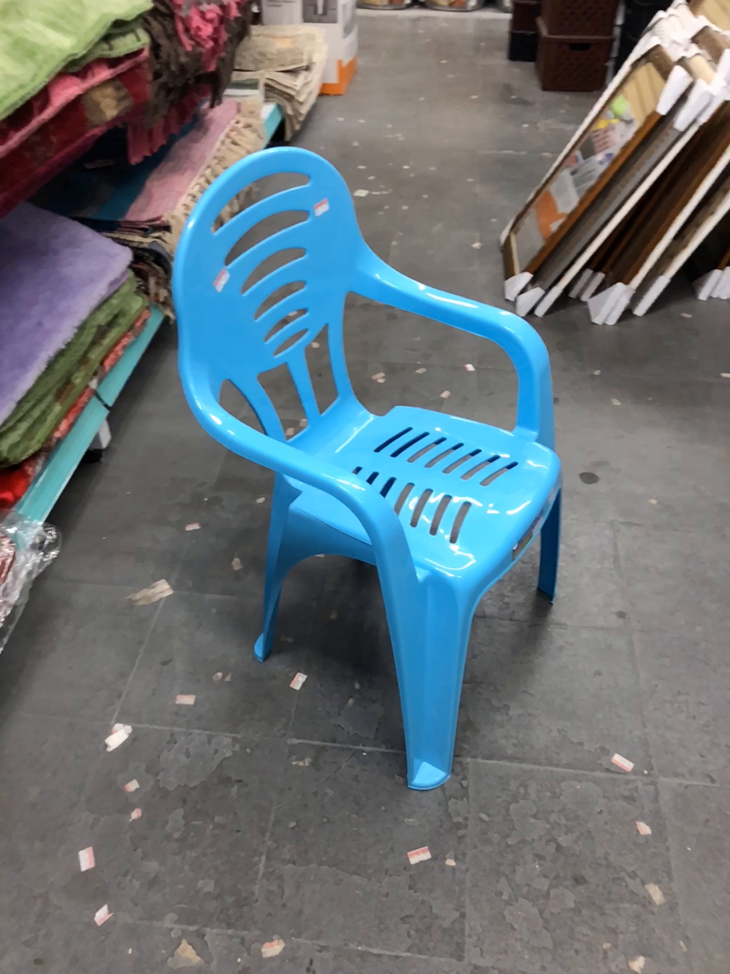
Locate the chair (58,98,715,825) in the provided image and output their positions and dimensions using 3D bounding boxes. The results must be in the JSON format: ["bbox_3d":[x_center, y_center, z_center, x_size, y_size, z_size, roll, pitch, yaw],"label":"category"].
[{"bbox_3d":[0.034,-0.046,0.827,0.391,0.516,0.402,23,45,24],"label":"chair"}]
